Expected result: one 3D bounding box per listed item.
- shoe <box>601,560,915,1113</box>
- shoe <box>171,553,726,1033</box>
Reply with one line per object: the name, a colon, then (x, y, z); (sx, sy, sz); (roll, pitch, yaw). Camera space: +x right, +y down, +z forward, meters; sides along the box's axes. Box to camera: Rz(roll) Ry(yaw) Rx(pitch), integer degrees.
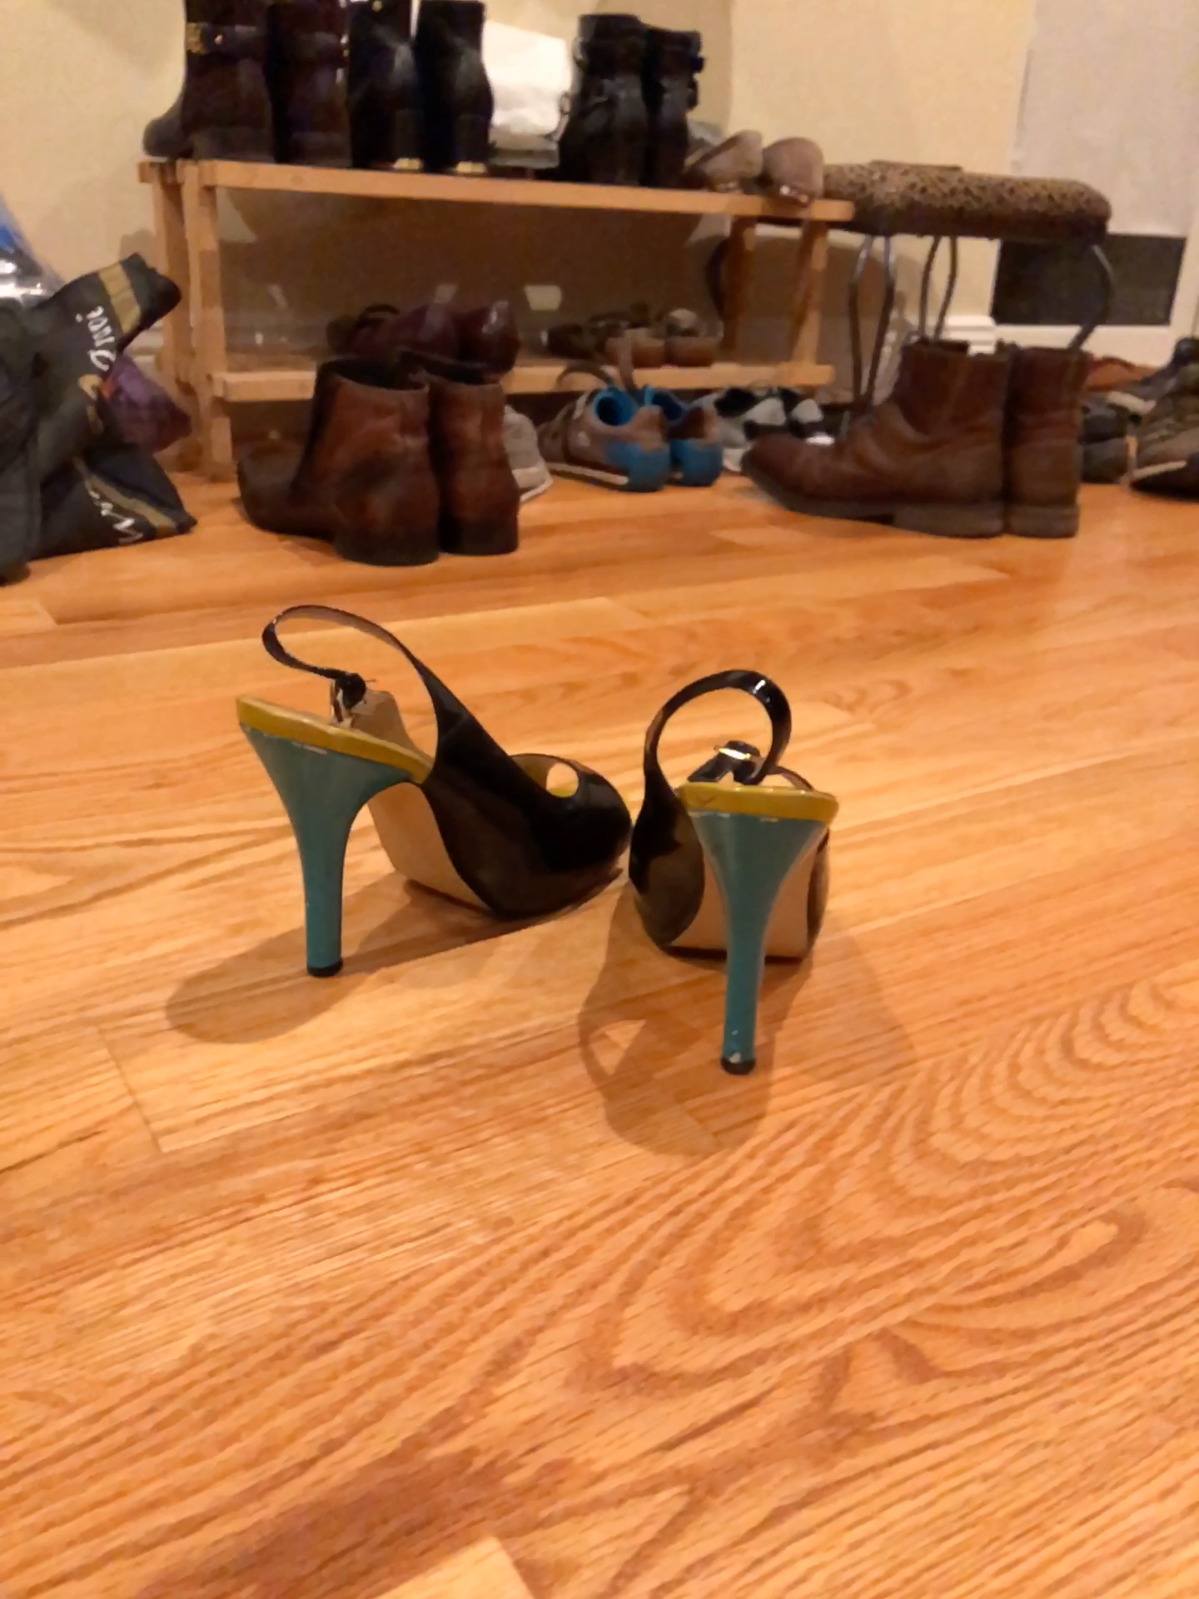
shoe: (0.051, 0.000, 0.502); (0.085, 0.131, 0.202); (4, 23, 2)
shoe: (-0.051, -0.016, 0.526); (0.085, 0.121, 0.205); (22, 30, 38)
